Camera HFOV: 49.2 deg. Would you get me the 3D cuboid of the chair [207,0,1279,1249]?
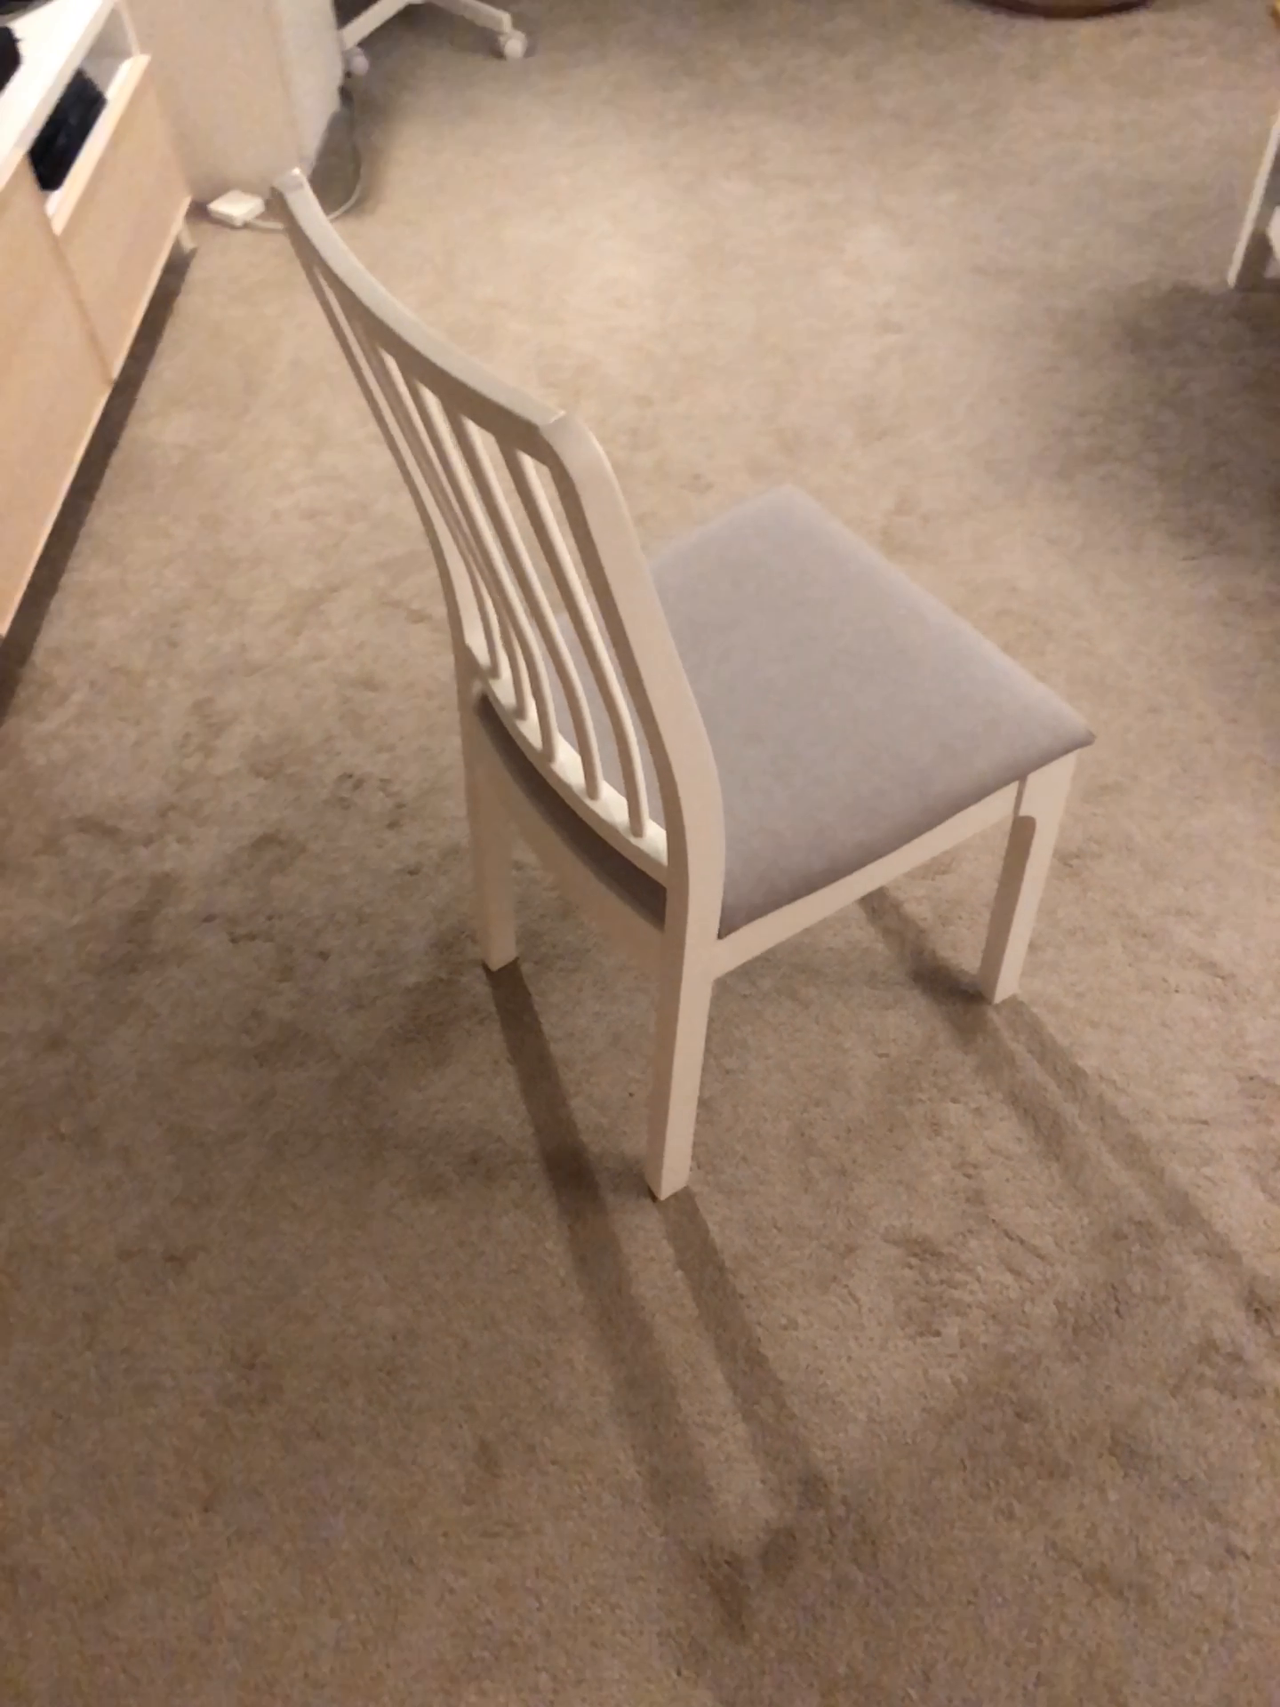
[{"bbox_3d":[0.086,-0.172,1.259,0.551,0.905,0.502,-27,55,-18],"label":"chair"}]
